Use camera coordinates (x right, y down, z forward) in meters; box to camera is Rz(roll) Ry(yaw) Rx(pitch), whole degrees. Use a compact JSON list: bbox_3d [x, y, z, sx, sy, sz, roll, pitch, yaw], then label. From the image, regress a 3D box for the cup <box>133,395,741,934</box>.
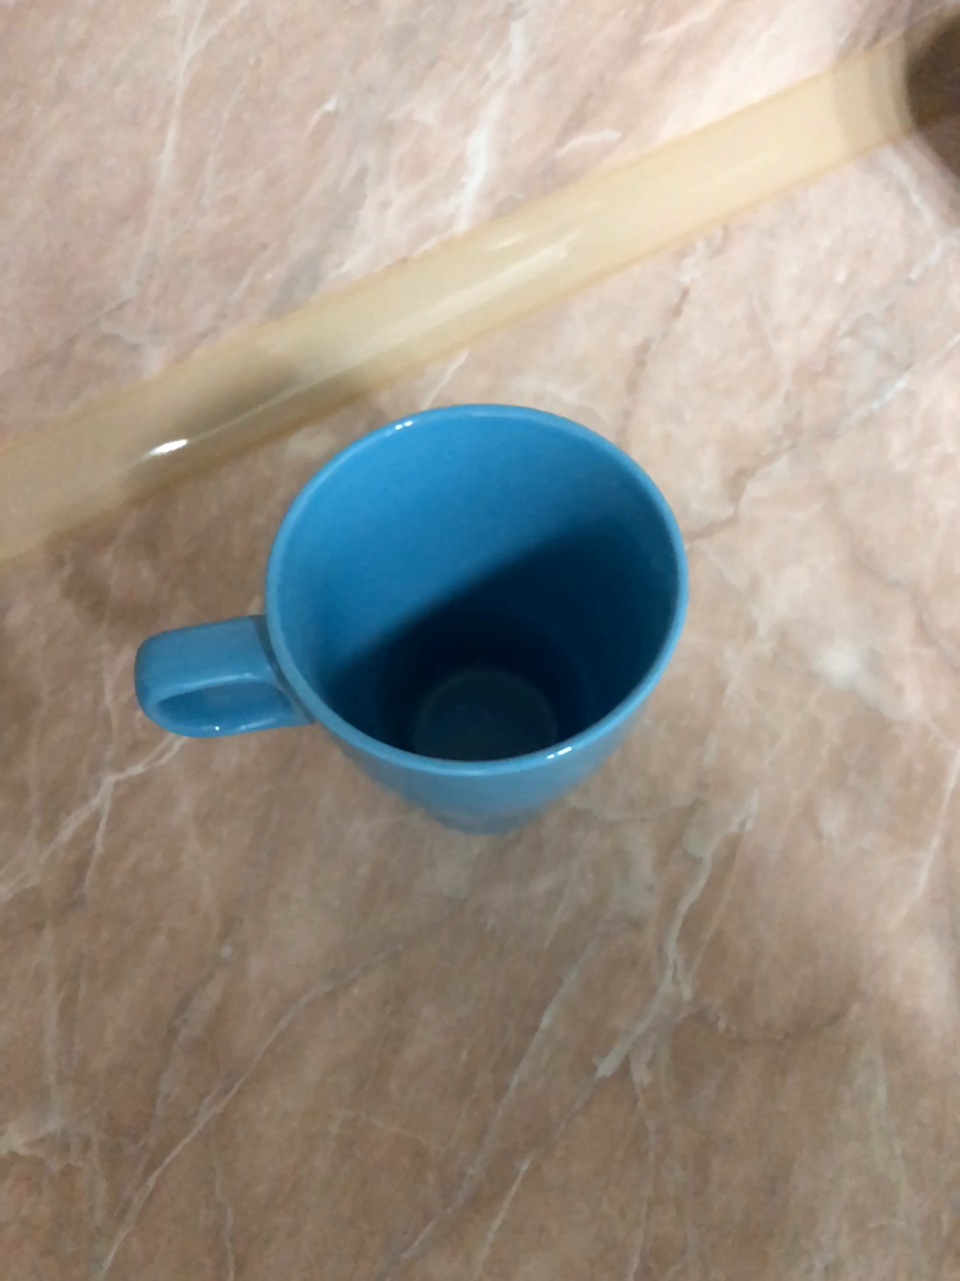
[{"bbox_3d":[-0.011,0.011,0.253,0.111,0.090,0.086,-7,64,-1],"label":"cup"}]
